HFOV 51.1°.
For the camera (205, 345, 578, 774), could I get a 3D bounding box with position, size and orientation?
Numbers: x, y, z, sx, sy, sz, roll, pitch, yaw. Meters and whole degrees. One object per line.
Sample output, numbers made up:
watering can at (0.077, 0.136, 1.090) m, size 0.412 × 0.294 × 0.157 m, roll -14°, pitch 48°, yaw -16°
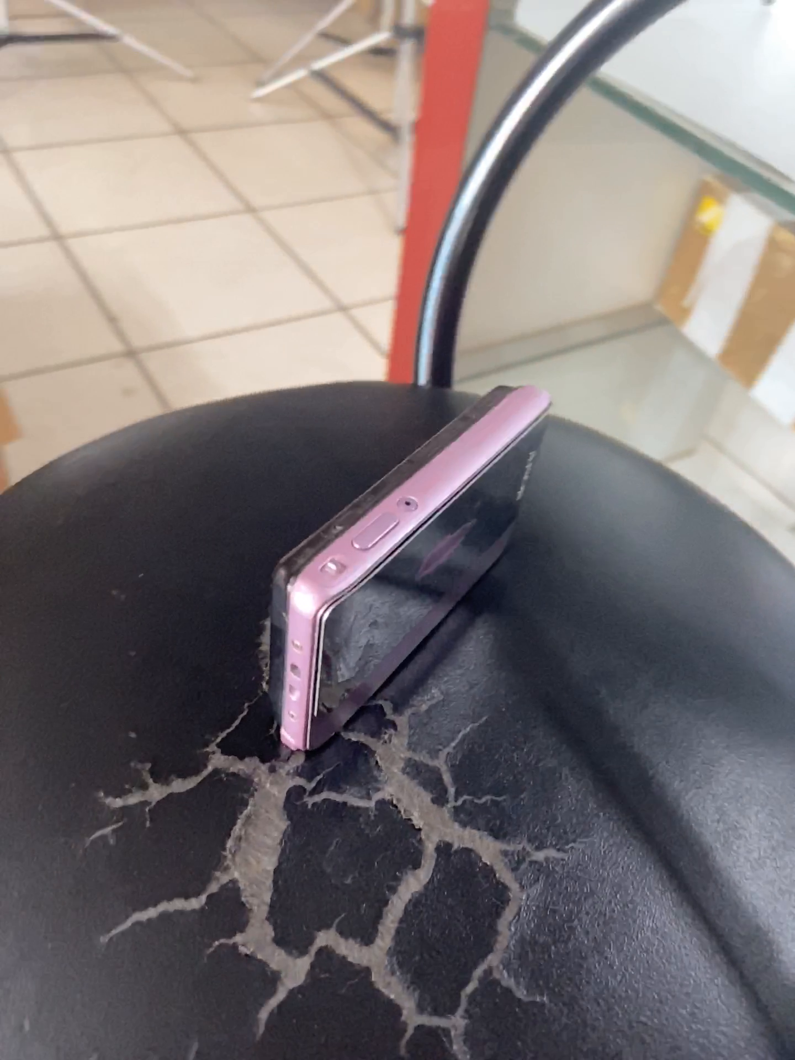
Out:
camera at (0.001, 0.002, 0.202) m, size 0.030 × 0.050 × 0.101 m, roll 31°, pitch 49°, yaw 19°
